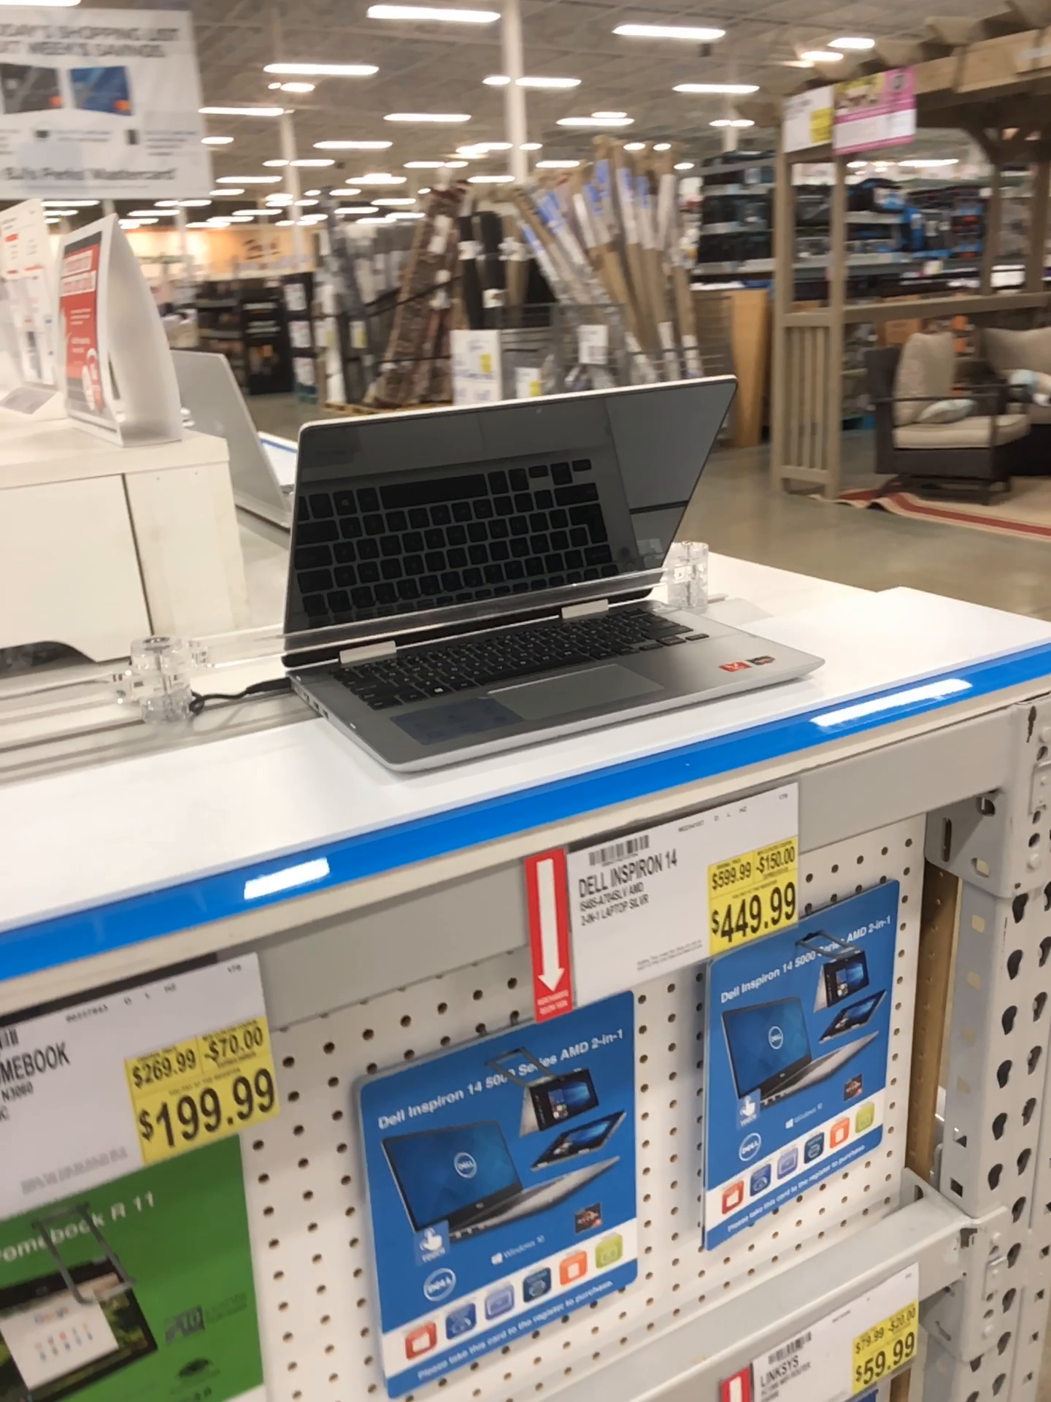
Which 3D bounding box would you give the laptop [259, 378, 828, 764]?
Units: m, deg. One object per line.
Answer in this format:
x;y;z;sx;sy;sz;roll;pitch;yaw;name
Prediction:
0.010;-0.109;0.790;0.307;0.183;0.210;-13;21;-24;laptop
